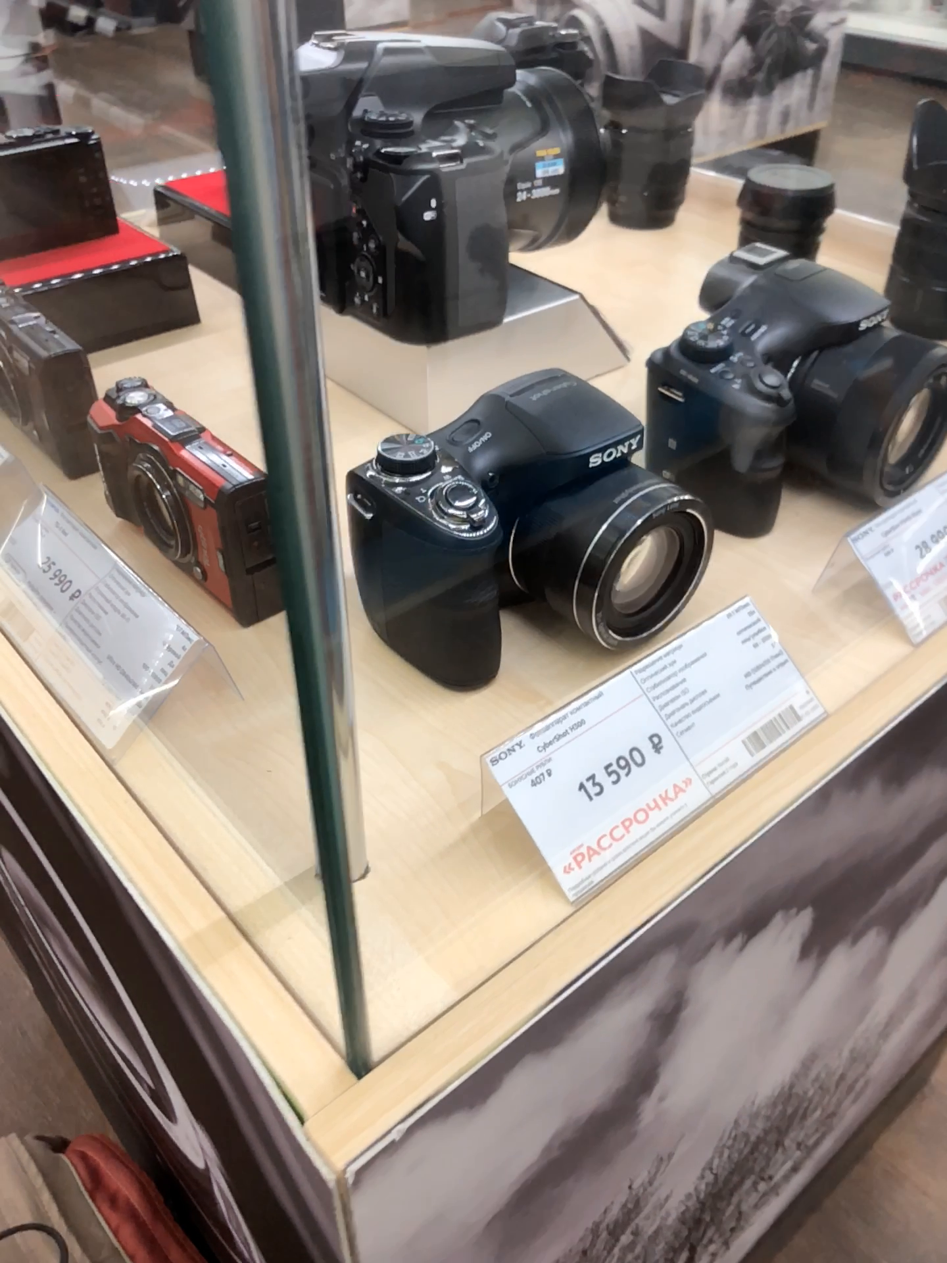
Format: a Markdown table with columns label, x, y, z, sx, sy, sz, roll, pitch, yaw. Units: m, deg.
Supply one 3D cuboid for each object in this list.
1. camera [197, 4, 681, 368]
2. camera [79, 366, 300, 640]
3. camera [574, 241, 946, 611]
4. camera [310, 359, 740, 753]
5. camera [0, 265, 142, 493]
| label | x | y | z | sx | sy | sz | roll | pitch | yaw |
| --- | --- | --- | --- | --- | --- | --- | --- | --- | --- |
| camera | -0.014 | -0.219 | 0.494 | 0.168 | 0.106 | 0.132 | -29 | 47 | -31 |
| camera | -0.117 | -0.055 | 0.430 | 0.026 | 0.069 | 0.111 | -29 | 47 | -31 |
| camera | 0.137 | -0.101 | 0.481 | 0.124 | 0.097 | 0.125 | -27 | 46 | -30 |
| camera | 0.019 | -0.035 | 0.398 | 0.124 | 0.078 | 0.092 | -27 | 46 | -30 |
| camera | -0.201 | -0.122 | 0.499 | 0.026 | 0.069 | 0.111 | -27 | 46 | -30 |
